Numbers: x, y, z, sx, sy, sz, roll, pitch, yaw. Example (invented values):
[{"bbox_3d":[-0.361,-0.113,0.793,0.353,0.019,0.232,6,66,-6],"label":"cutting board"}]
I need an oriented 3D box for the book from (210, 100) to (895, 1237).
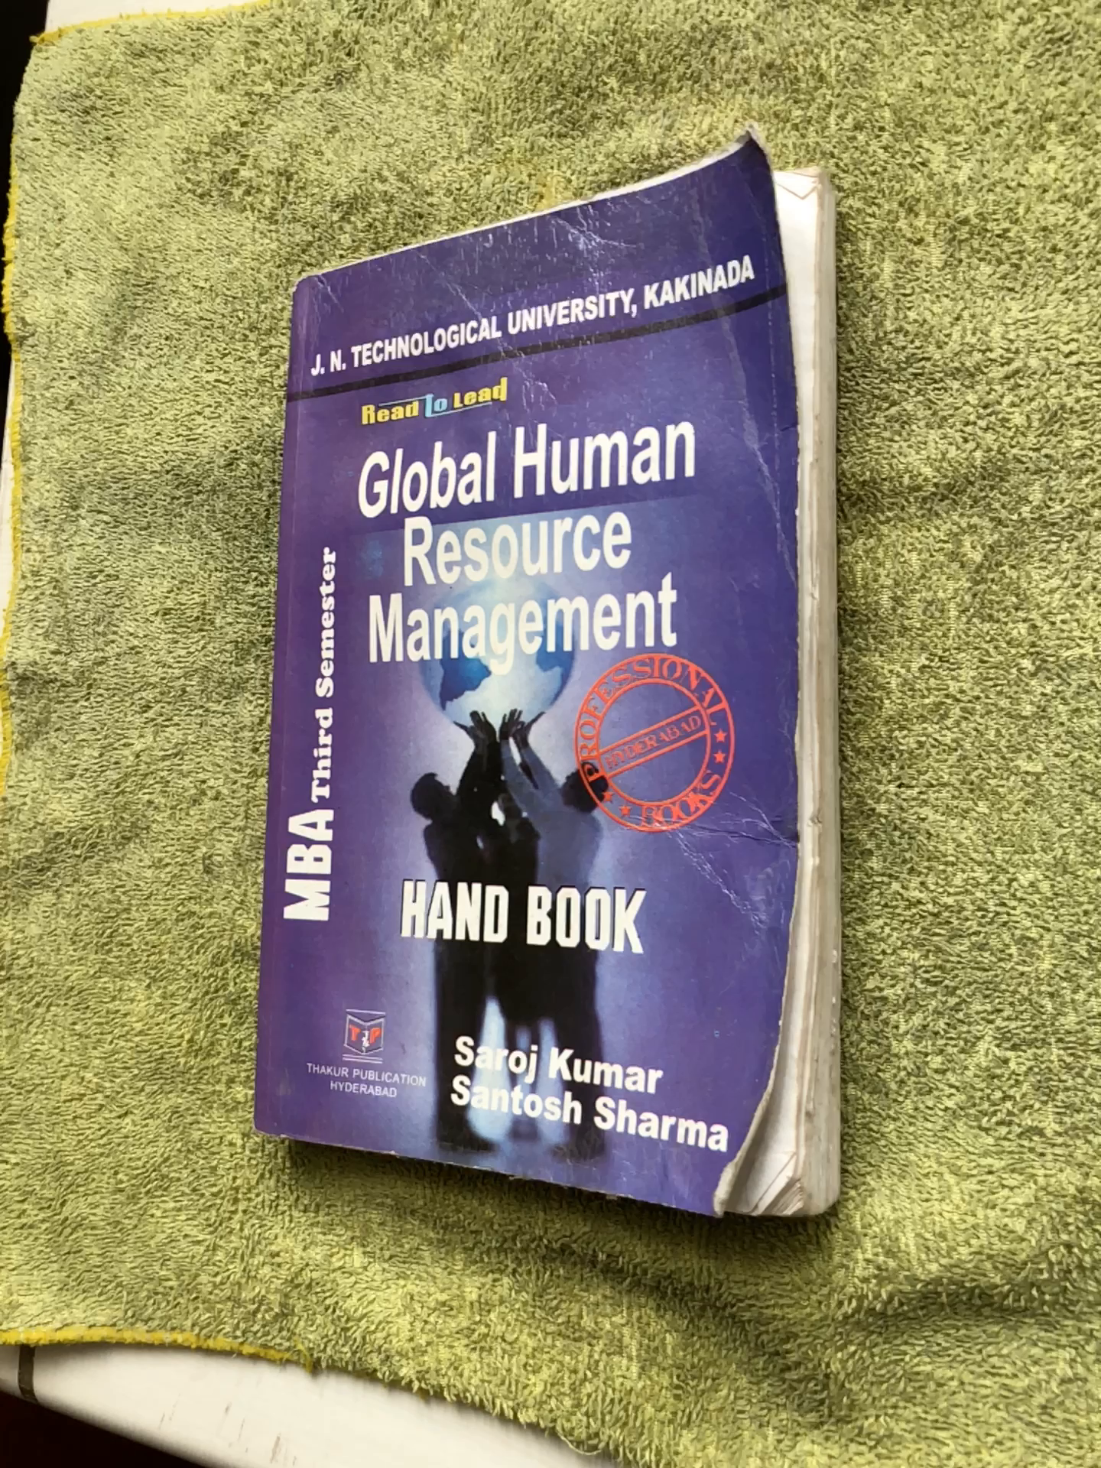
[{"bbox_3d":[-0.002,-0.012,0.264,0.140,0.040,0.200,-2,84,28],"label":"book"}]
